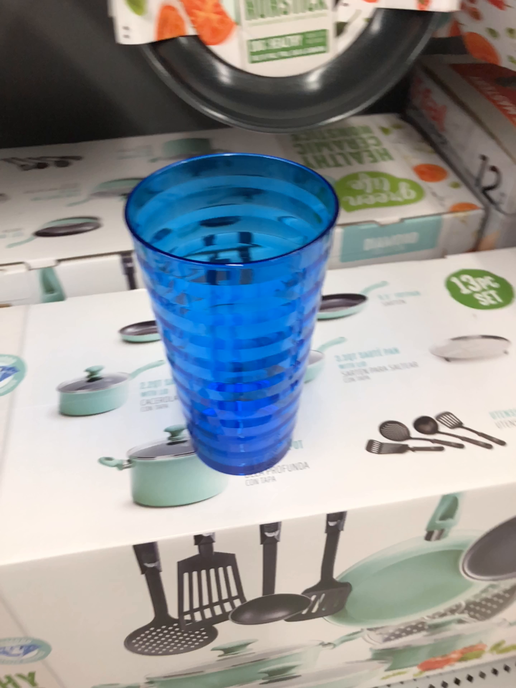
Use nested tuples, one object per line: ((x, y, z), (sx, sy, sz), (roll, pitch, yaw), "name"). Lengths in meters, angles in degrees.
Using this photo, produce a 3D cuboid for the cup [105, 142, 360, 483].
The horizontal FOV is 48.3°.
((-0.007, -0.011, 0.277), (0.087, 0.134, 0.092), (0, 45, 0), "cup")
